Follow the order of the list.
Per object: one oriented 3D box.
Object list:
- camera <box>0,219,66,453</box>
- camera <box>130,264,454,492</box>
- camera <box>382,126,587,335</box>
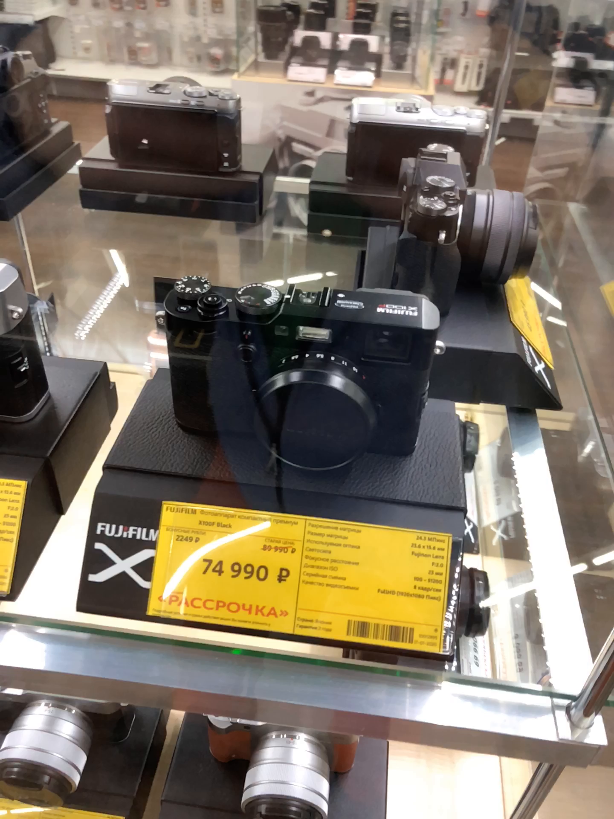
[{"bbox_3d":[-0.194,-0.035,0.318,0.130,0.080,0.055,6,38,3],"label":"camera"},{"bbox_3d":[-0.005,-0.015,0.315,0.130,0.075,0.055,6,38,3],"label":"camera"},{"bbox_3d":[0.108,-0.124,0.451,0.104,0.080,0.131,6,38,4],"label":"camera"}]
